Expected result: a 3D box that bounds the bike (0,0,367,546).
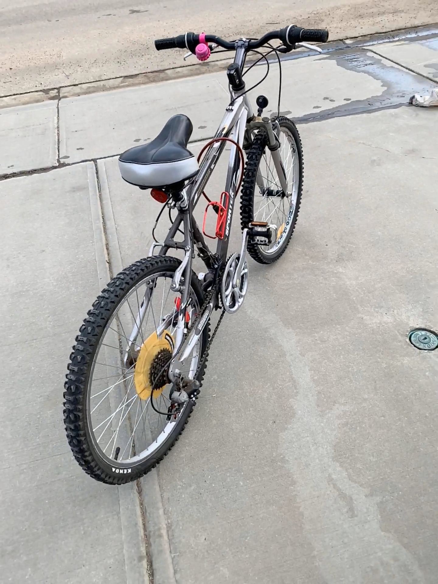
[{"bbox_3d":[-0.038,-0.244,1.357,0.539,0.825,1.505,14,49,21],"label":"bike"}]
